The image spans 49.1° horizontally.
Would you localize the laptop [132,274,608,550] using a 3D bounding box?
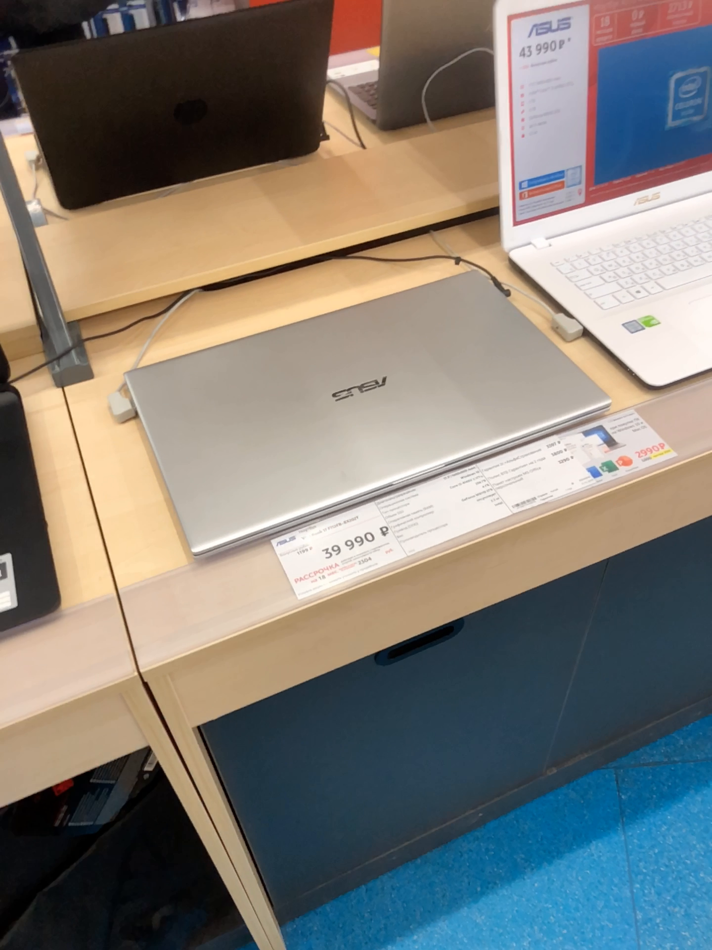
[{"bbox_3d":[0.007,-0.081,0.745,0.392,0.006,0.233,-19,50,-15],"label":"laptop"}]
